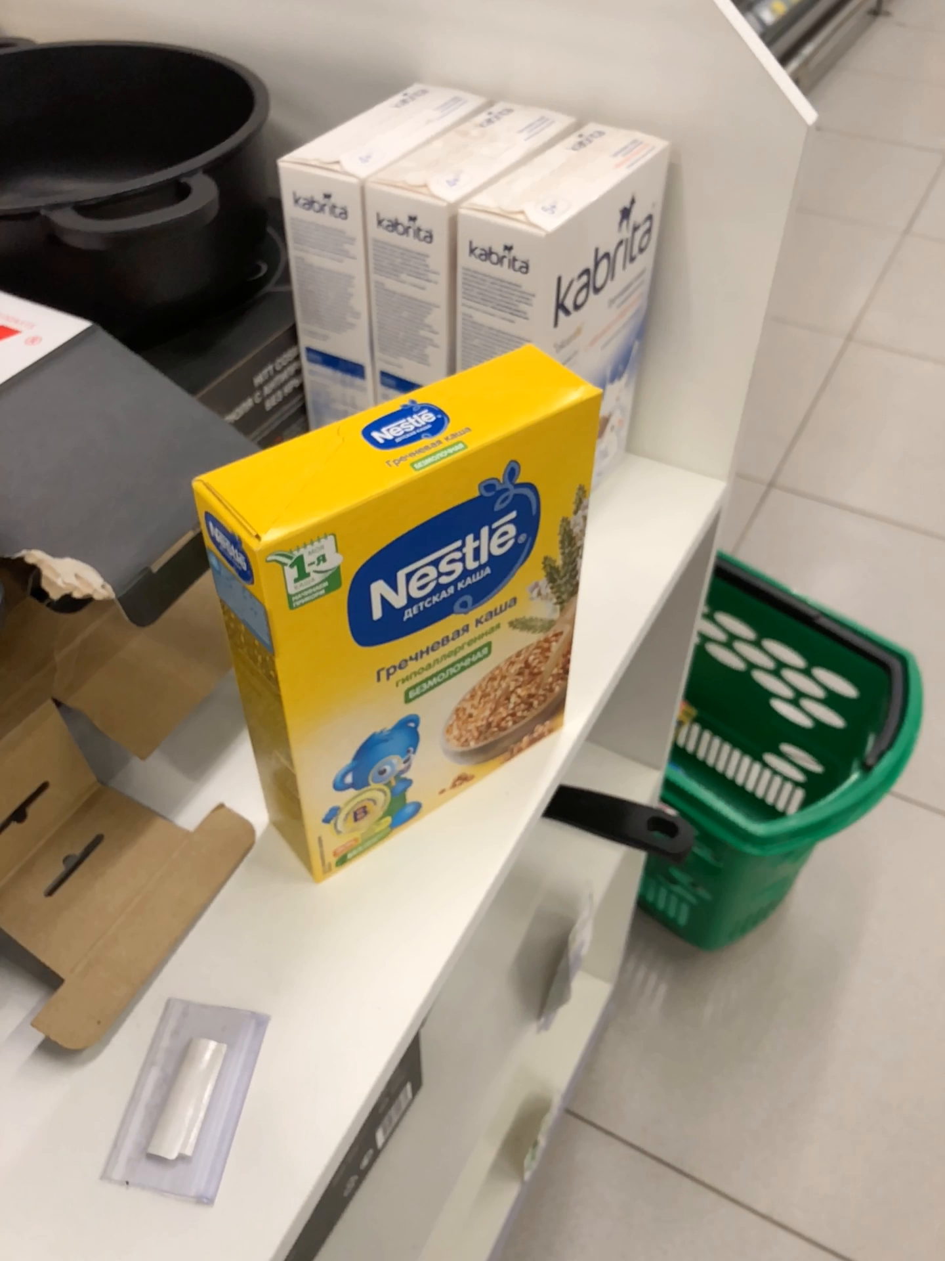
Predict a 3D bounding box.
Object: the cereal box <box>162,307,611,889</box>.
[{"bbox_3d":[-0.026,-0.007,0.425,0.150,0.199,0.050,-29,52,-27],"label":"cereal box"}]
